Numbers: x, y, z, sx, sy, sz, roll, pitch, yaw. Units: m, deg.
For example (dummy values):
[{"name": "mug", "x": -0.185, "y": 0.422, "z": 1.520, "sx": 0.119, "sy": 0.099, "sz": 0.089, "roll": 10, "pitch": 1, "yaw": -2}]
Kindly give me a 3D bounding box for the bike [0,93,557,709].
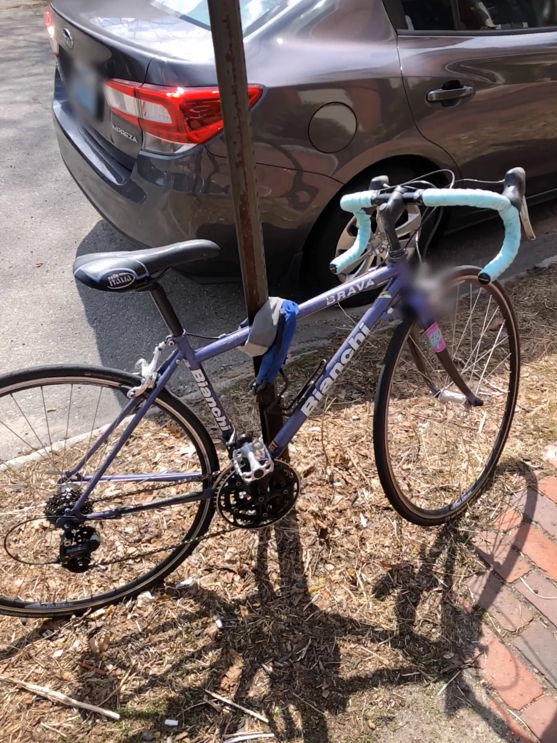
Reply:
[{"name": "bike", "x": -0.081, "y": 0.003, "z": 1.375, "sx": 1.449, "sy": 0.734, "sz": 0.462, "roll": -20, "pitch": 38, "yaw": -13}]
